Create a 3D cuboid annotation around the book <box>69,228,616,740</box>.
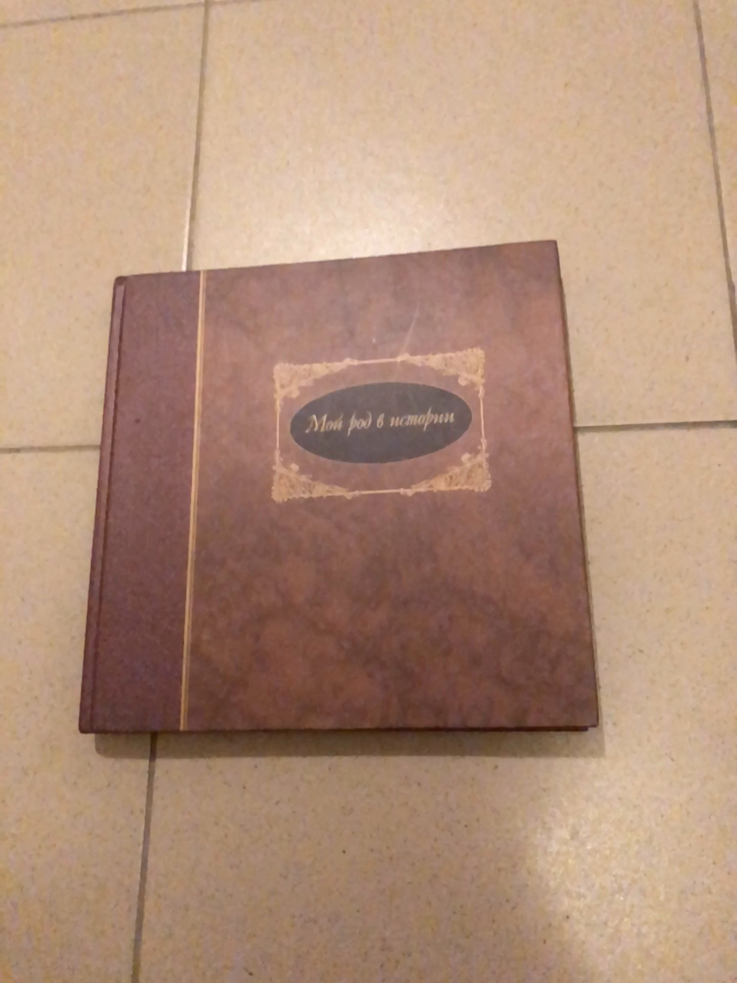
[{"bbox_3d":[-0.017,-0.004,0.411,0.244,0.038,0.245,-4,72,8],"label":"book"}]
